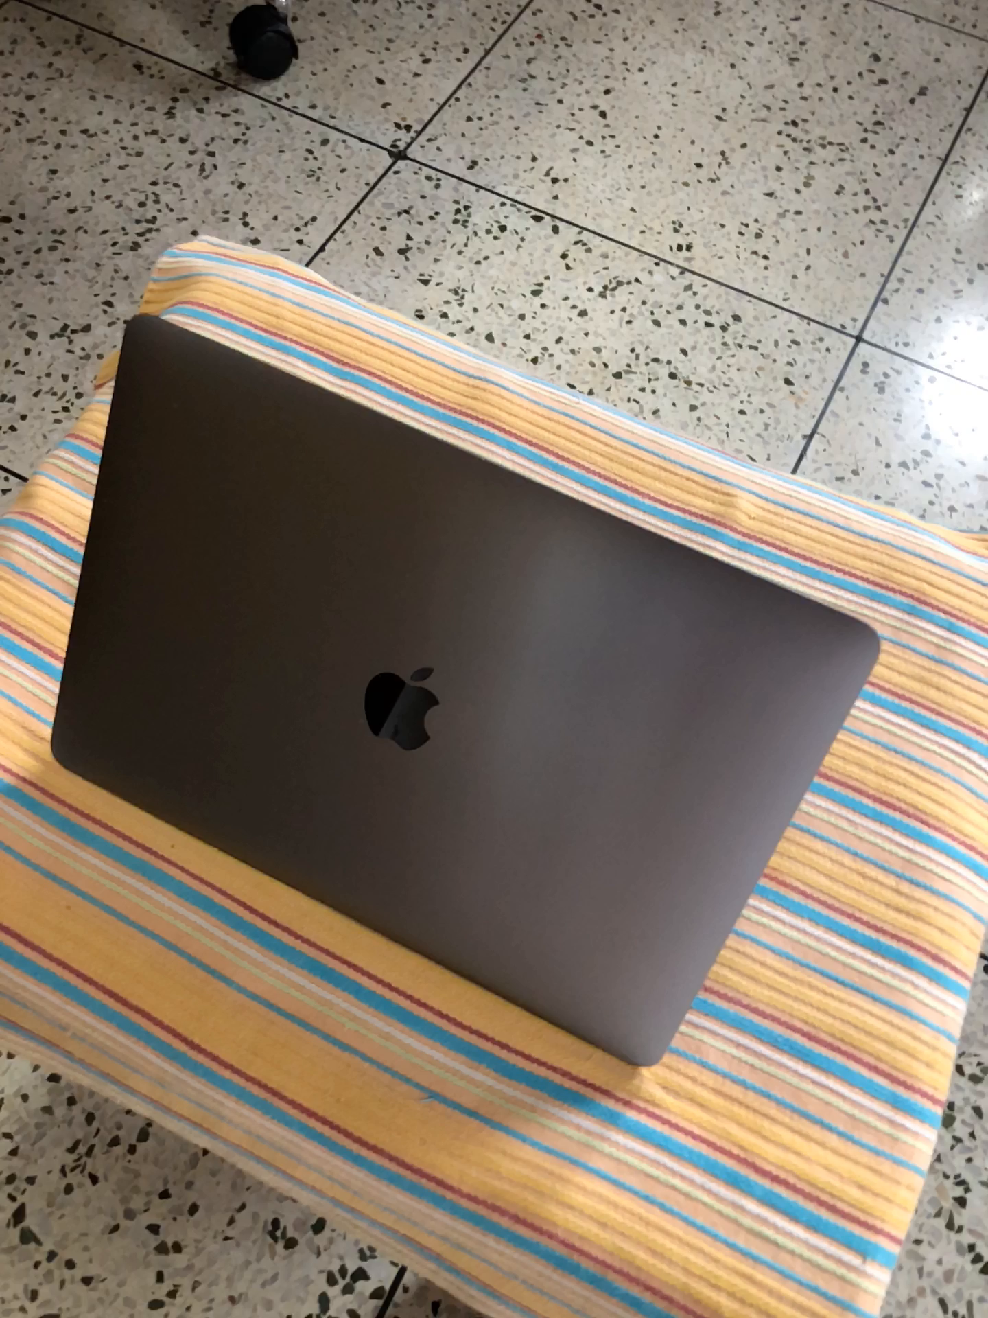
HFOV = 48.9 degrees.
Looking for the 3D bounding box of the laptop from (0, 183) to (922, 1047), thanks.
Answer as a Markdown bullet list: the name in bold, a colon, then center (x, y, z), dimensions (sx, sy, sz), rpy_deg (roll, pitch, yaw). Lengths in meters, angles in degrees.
- **laptop**: center (-0.023, -0.018, 0.453), dimensions (0.294, 0.160, 0.204), rpy_deg (26, 65, 10)
